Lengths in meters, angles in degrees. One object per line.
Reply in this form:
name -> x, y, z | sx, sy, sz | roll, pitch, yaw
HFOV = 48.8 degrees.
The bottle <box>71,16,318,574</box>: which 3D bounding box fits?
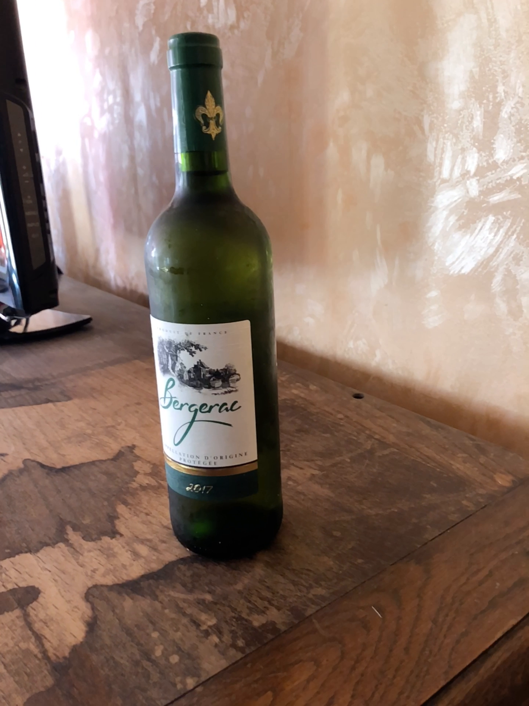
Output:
bottle -> -0.026, -0.026, 0.331 | 0.090, 0.269, 0.090 | -1, 18, 0
